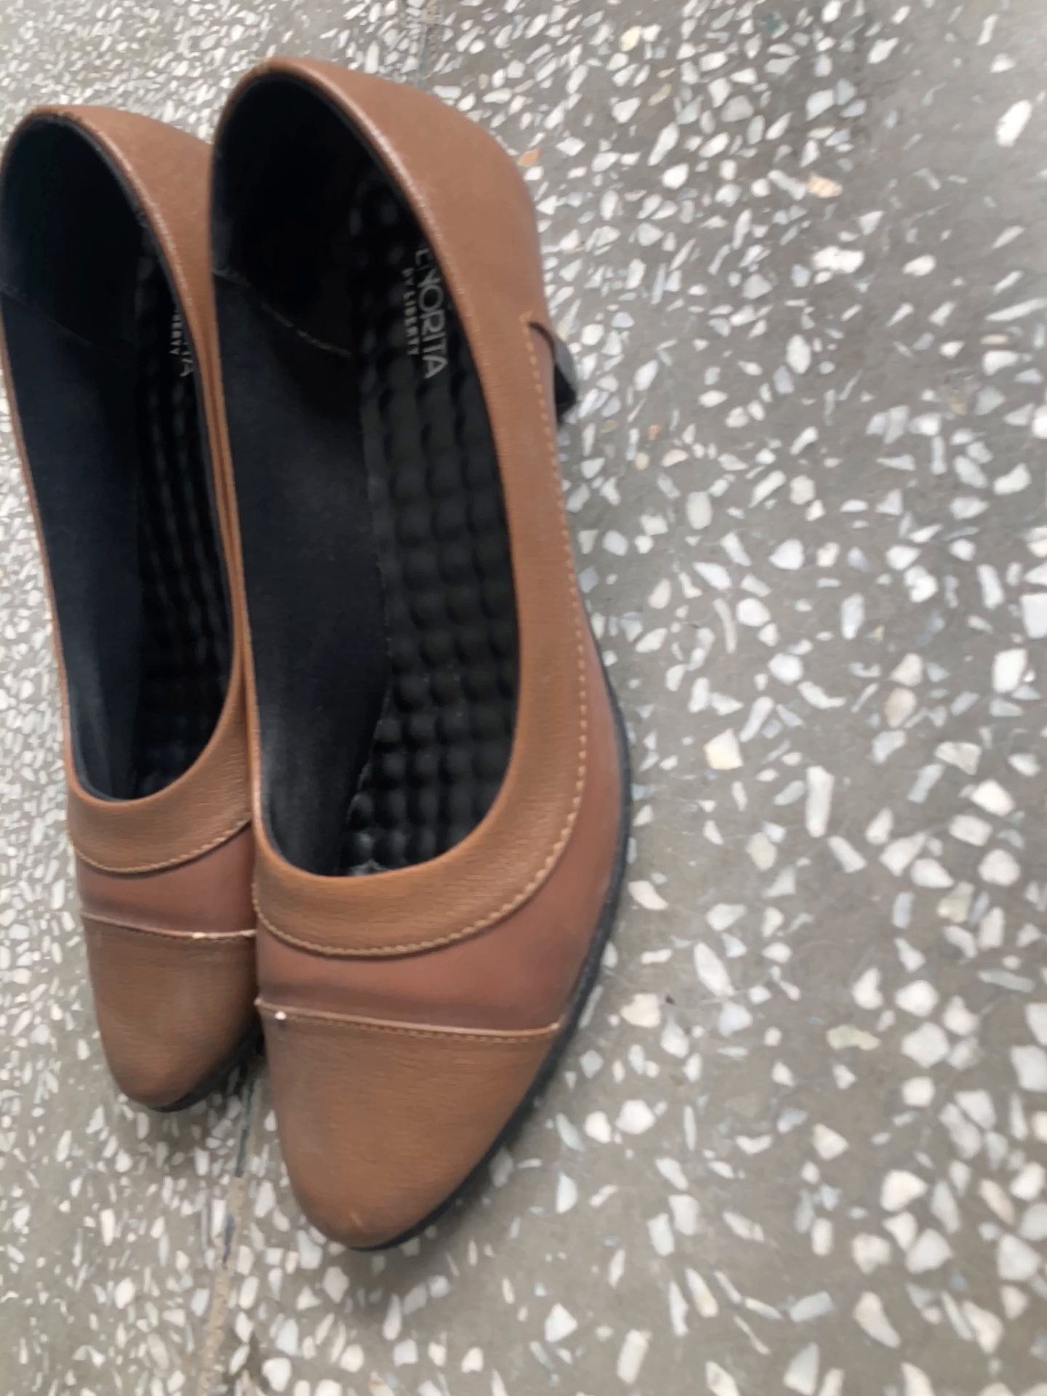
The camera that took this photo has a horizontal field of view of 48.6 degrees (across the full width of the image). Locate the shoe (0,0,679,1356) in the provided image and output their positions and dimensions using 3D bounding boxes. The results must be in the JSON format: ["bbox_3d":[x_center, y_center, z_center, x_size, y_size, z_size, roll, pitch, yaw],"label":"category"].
[{"bbox_3d":[-0.038,-0.012,0.249,0.093,0.096,0.241,-4,72,33],"label":"shoe"}]

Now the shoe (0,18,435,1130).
[{"bbox_3d":[-0.105,-0.025,0.302,0.090,0.096,0.244,-2,73,34],"label":"shoe"}]
